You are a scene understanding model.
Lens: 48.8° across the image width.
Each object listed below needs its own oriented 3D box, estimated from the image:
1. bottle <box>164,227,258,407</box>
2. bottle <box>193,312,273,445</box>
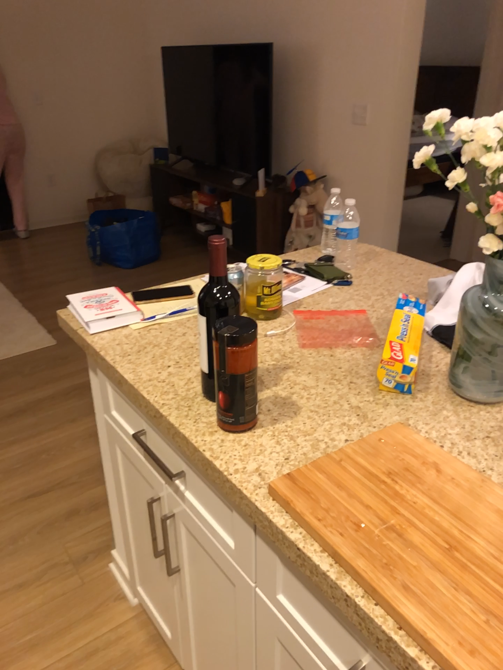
[{"bbox_3d":[-0.065,-0.033,0.978,0.110,0.278,0.110,0,26,0],"label":"bottle"},{"bbox_3d":[-0.029,0.070,0.919,0.090,0.179,0.090,0,26,0],"label":"bottle"}]
